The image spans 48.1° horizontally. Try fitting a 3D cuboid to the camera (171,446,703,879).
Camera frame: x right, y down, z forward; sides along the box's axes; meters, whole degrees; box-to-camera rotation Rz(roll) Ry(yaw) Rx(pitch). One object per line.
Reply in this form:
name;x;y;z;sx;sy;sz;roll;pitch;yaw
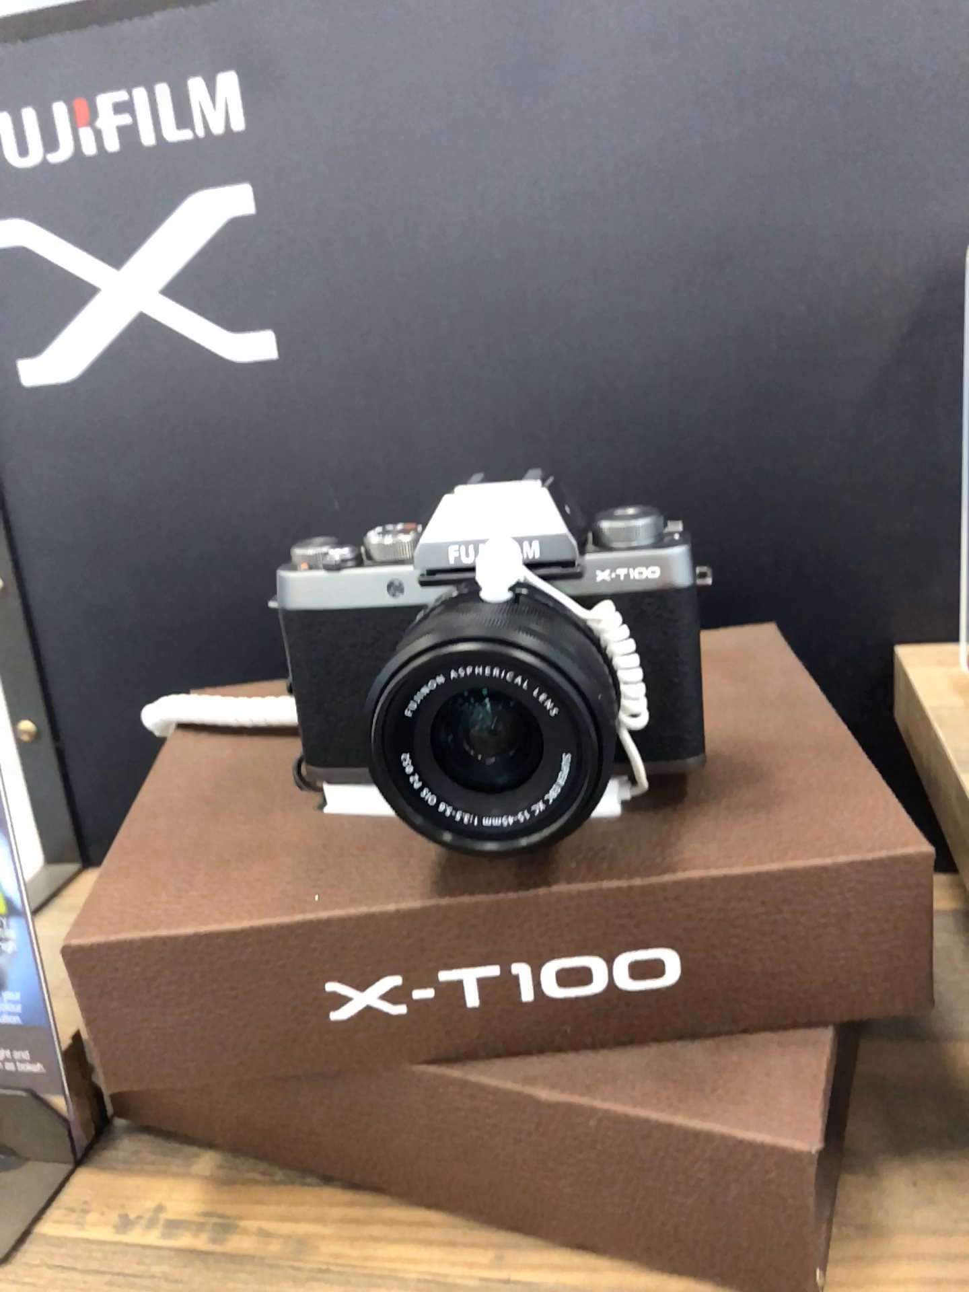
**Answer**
camera;-0.003;0.001;0.304;0.120;0.090;0.090;-2;19;13
